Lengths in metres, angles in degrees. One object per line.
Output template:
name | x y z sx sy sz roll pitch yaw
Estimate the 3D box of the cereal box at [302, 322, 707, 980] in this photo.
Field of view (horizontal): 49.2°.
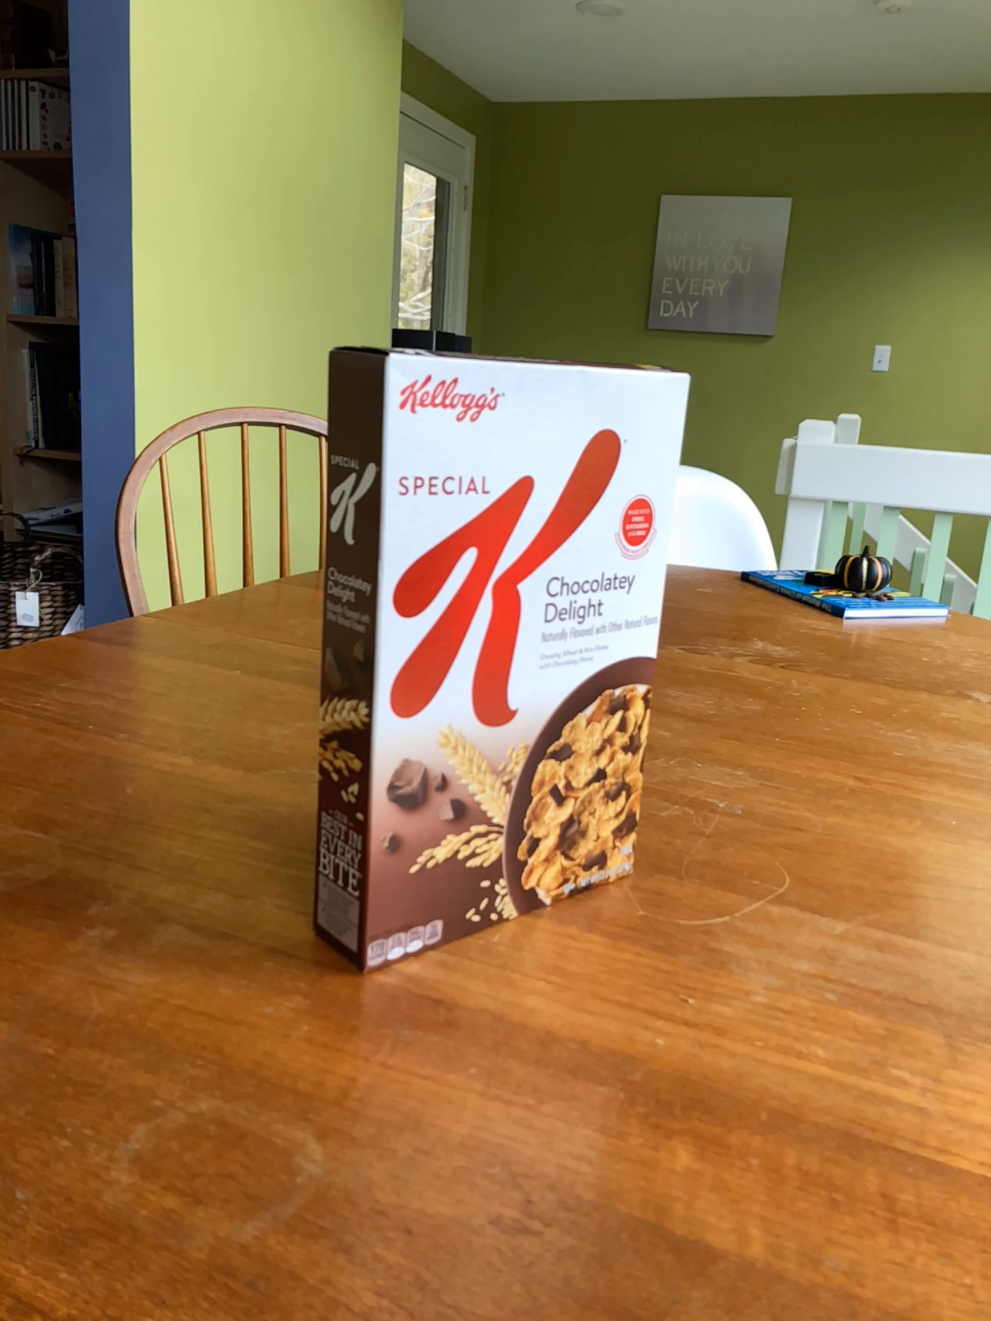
cereal box | 0.006 -0.011 0.543 0.201 0.289 0.050 -9 20 -40
